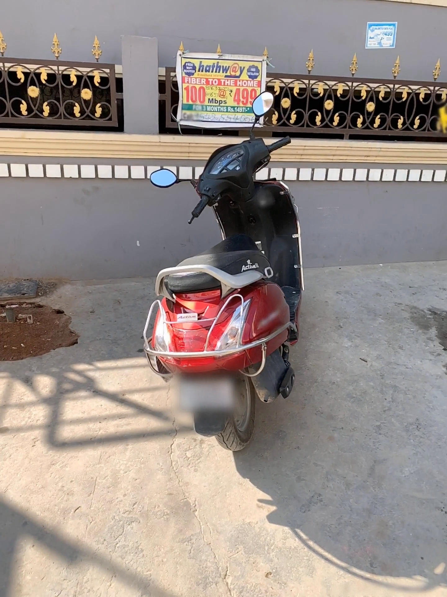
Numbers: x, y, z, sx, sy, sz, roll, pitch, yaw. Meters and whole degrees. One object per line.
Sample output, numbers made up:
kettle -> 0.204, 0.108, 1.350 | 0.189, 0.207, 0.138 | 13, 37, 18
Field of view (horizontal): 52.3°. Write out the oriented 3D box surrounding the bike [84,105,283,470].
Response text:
bike -> -0.059, -0.309, 2.394 | 0.622, 1.164, 1.763 | 5, 25, 6
